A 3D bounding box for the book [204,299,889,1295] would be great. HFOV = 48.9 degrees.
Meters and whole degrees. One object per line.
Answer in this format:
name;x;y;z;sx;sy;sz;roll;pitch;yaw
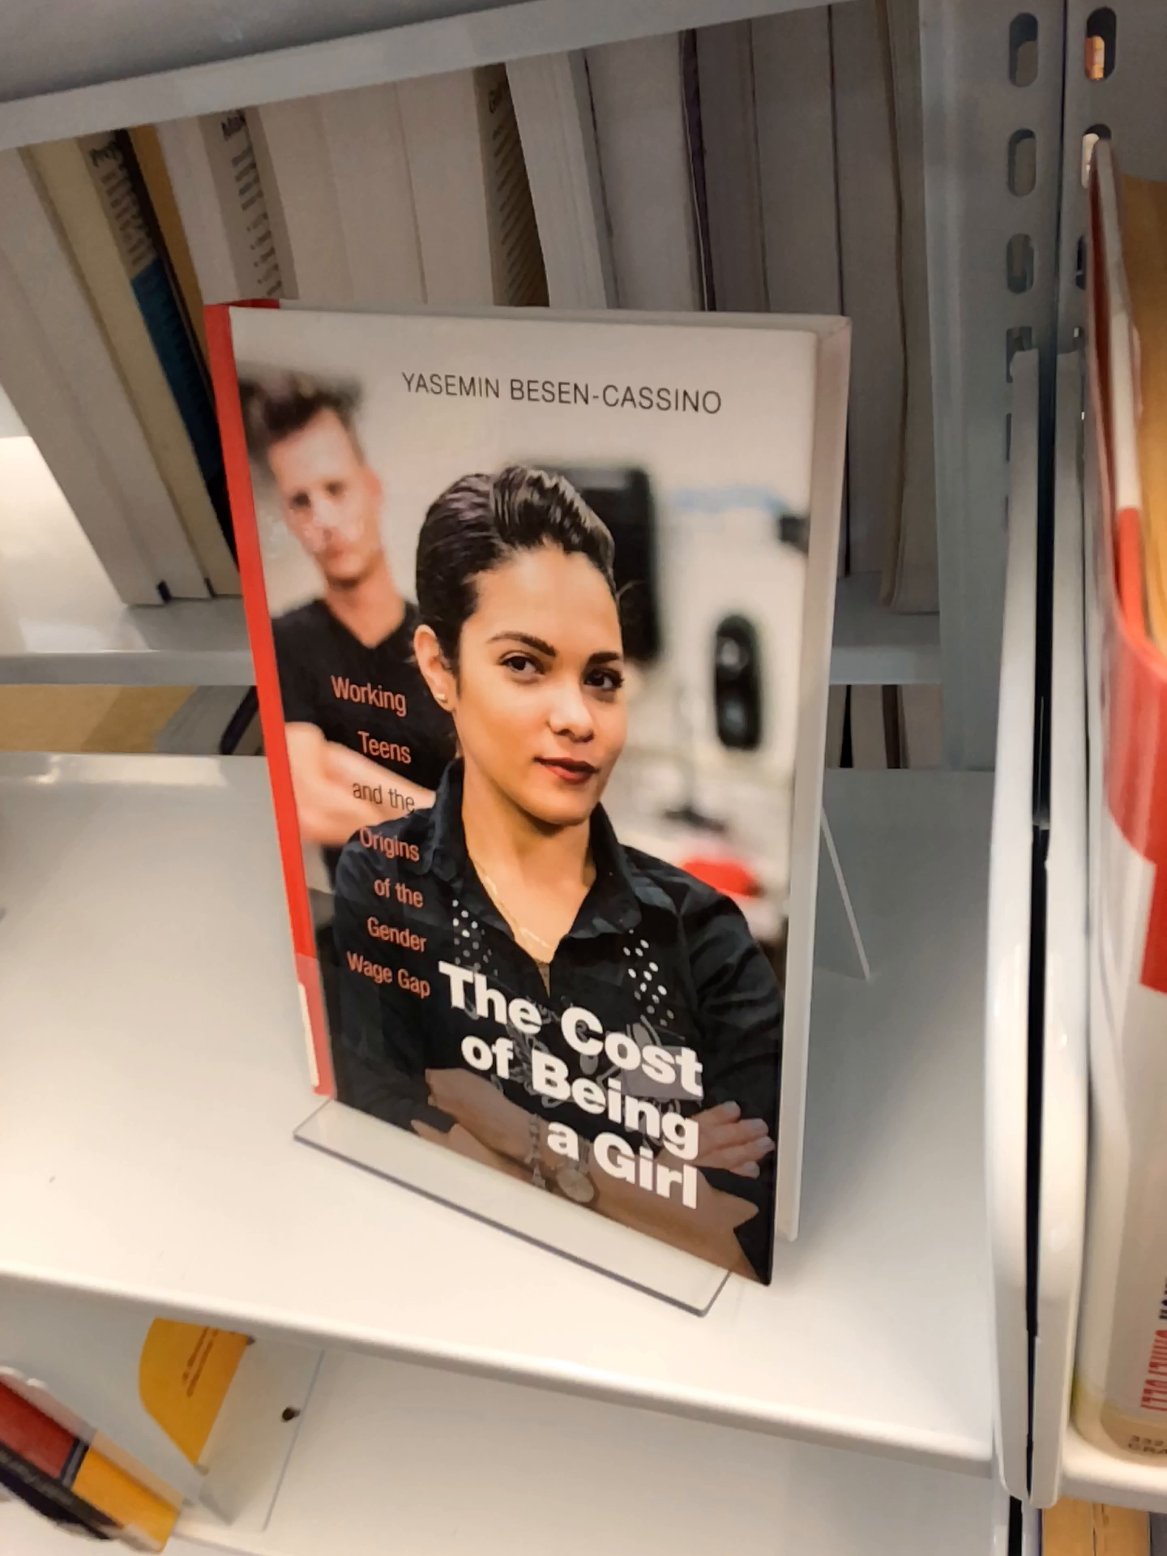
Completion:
book;-0.011;0.004;0.323;0.157;0.230;0.030;13;29;30
